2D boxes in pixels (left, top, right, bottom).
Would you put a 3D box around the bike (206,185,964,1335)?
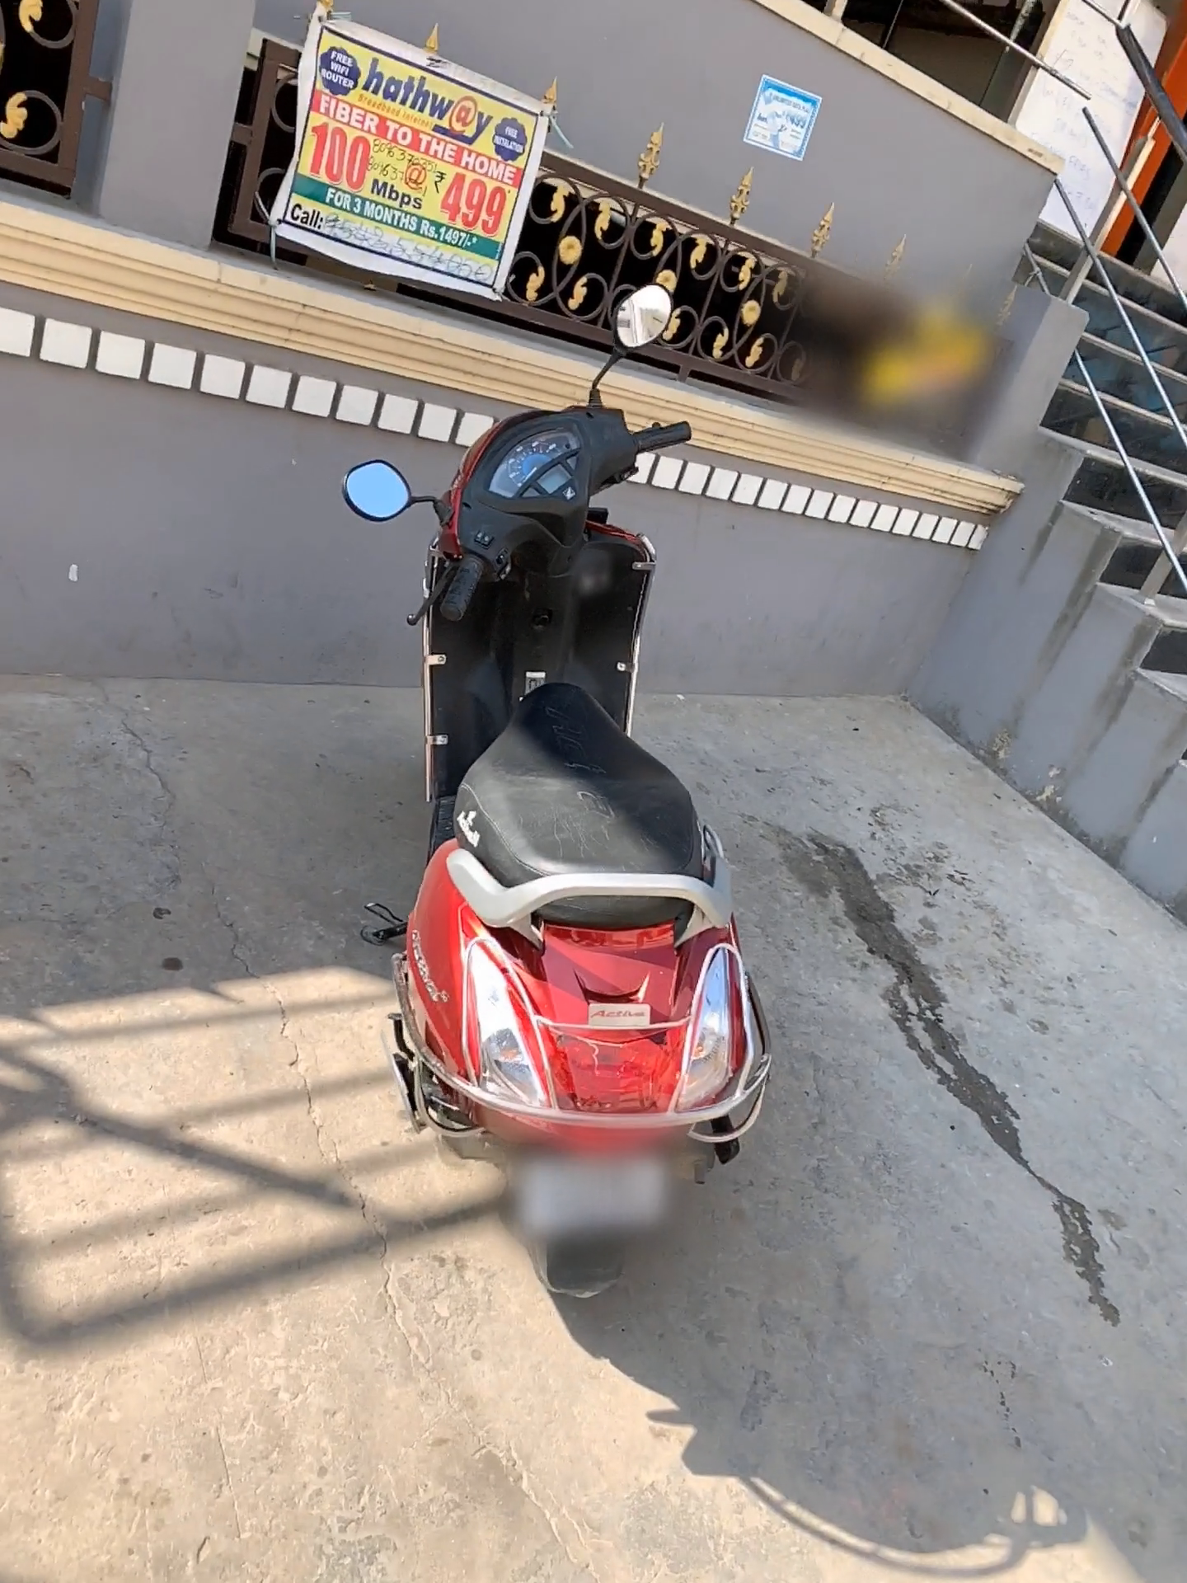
[{"bbox_3d":[-0.259,-0.230,2.224,0.623,1.165,1.759,11,30,-22],"label":"bike"}]
